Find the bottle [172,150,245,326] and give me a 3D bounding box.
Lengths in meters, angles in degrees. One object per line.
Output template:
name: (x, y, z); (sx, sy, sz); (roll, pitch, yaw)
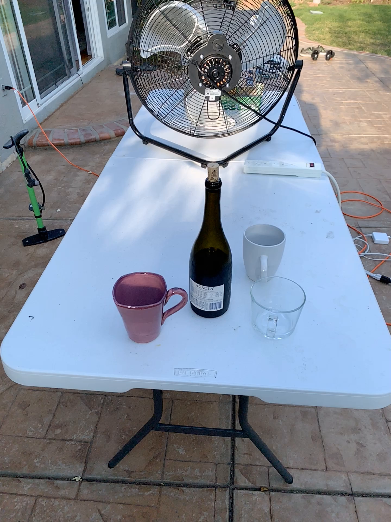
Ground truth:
bottle: (0.025, -0.033, 0.753); (0.087, 0.318, 0.087); (-1, 37, 1)
